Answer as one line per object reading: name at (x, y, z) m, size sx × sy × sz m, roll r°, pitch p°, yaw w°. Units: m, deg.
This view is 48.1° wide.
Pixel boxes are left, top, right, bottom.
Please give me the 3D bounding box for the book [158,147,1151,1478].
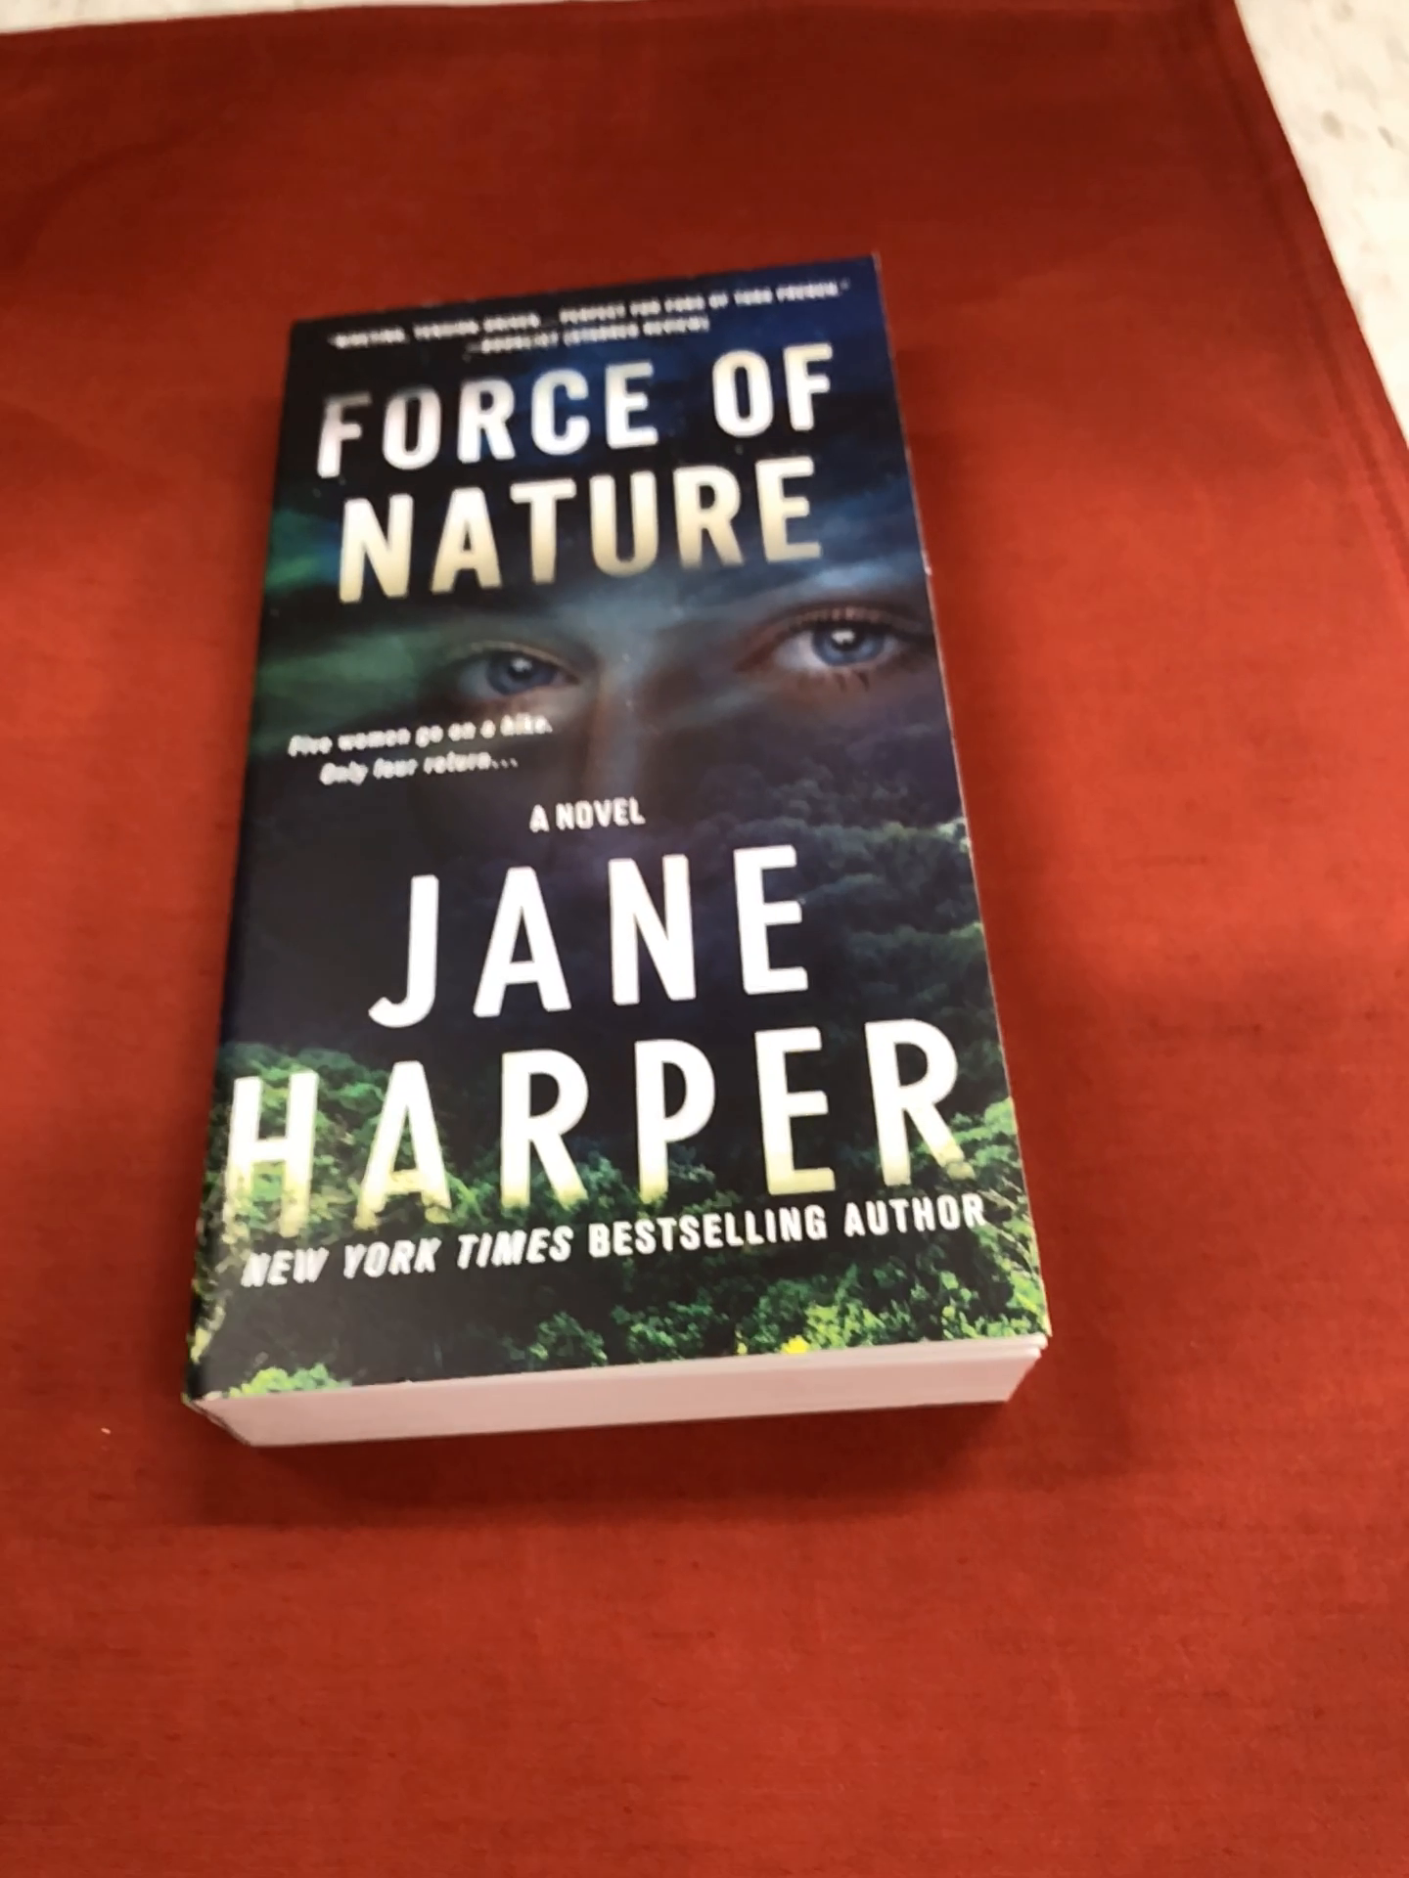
book at (-0.013, -0.023, 0.231) m, size 0.110 × 0.050 × 0.181 m, roll -6°, pitch 67°, yaw 1°
